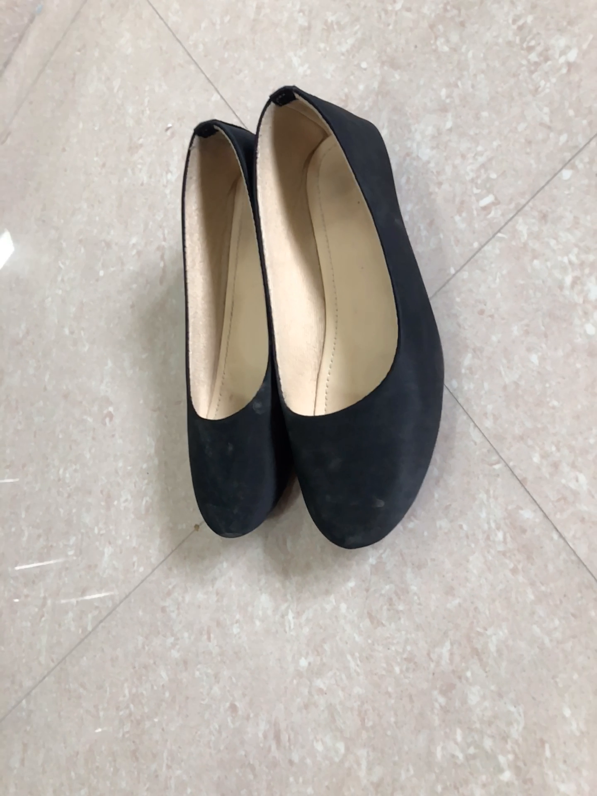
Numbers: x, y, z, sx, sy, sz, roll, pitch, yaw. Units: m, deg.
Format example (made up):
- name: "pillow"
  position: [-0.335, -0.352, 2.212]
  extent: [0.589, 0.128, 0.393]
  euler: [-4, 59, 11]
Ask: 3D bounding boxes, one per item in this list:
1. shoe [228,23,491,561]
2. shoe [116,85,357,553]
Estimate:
- name: "shoe"
  position: [0.026, -0.043, 0.332]
  extent: [0.093, 0.075, 0.239]
  euler: [-13, 70, 38]
- name: "shoe"
  position: [-0.031, -0.037, 0.382]
  extent: [0.093, 0.075, 0.239]
  euler: [-6, 74, 39]
